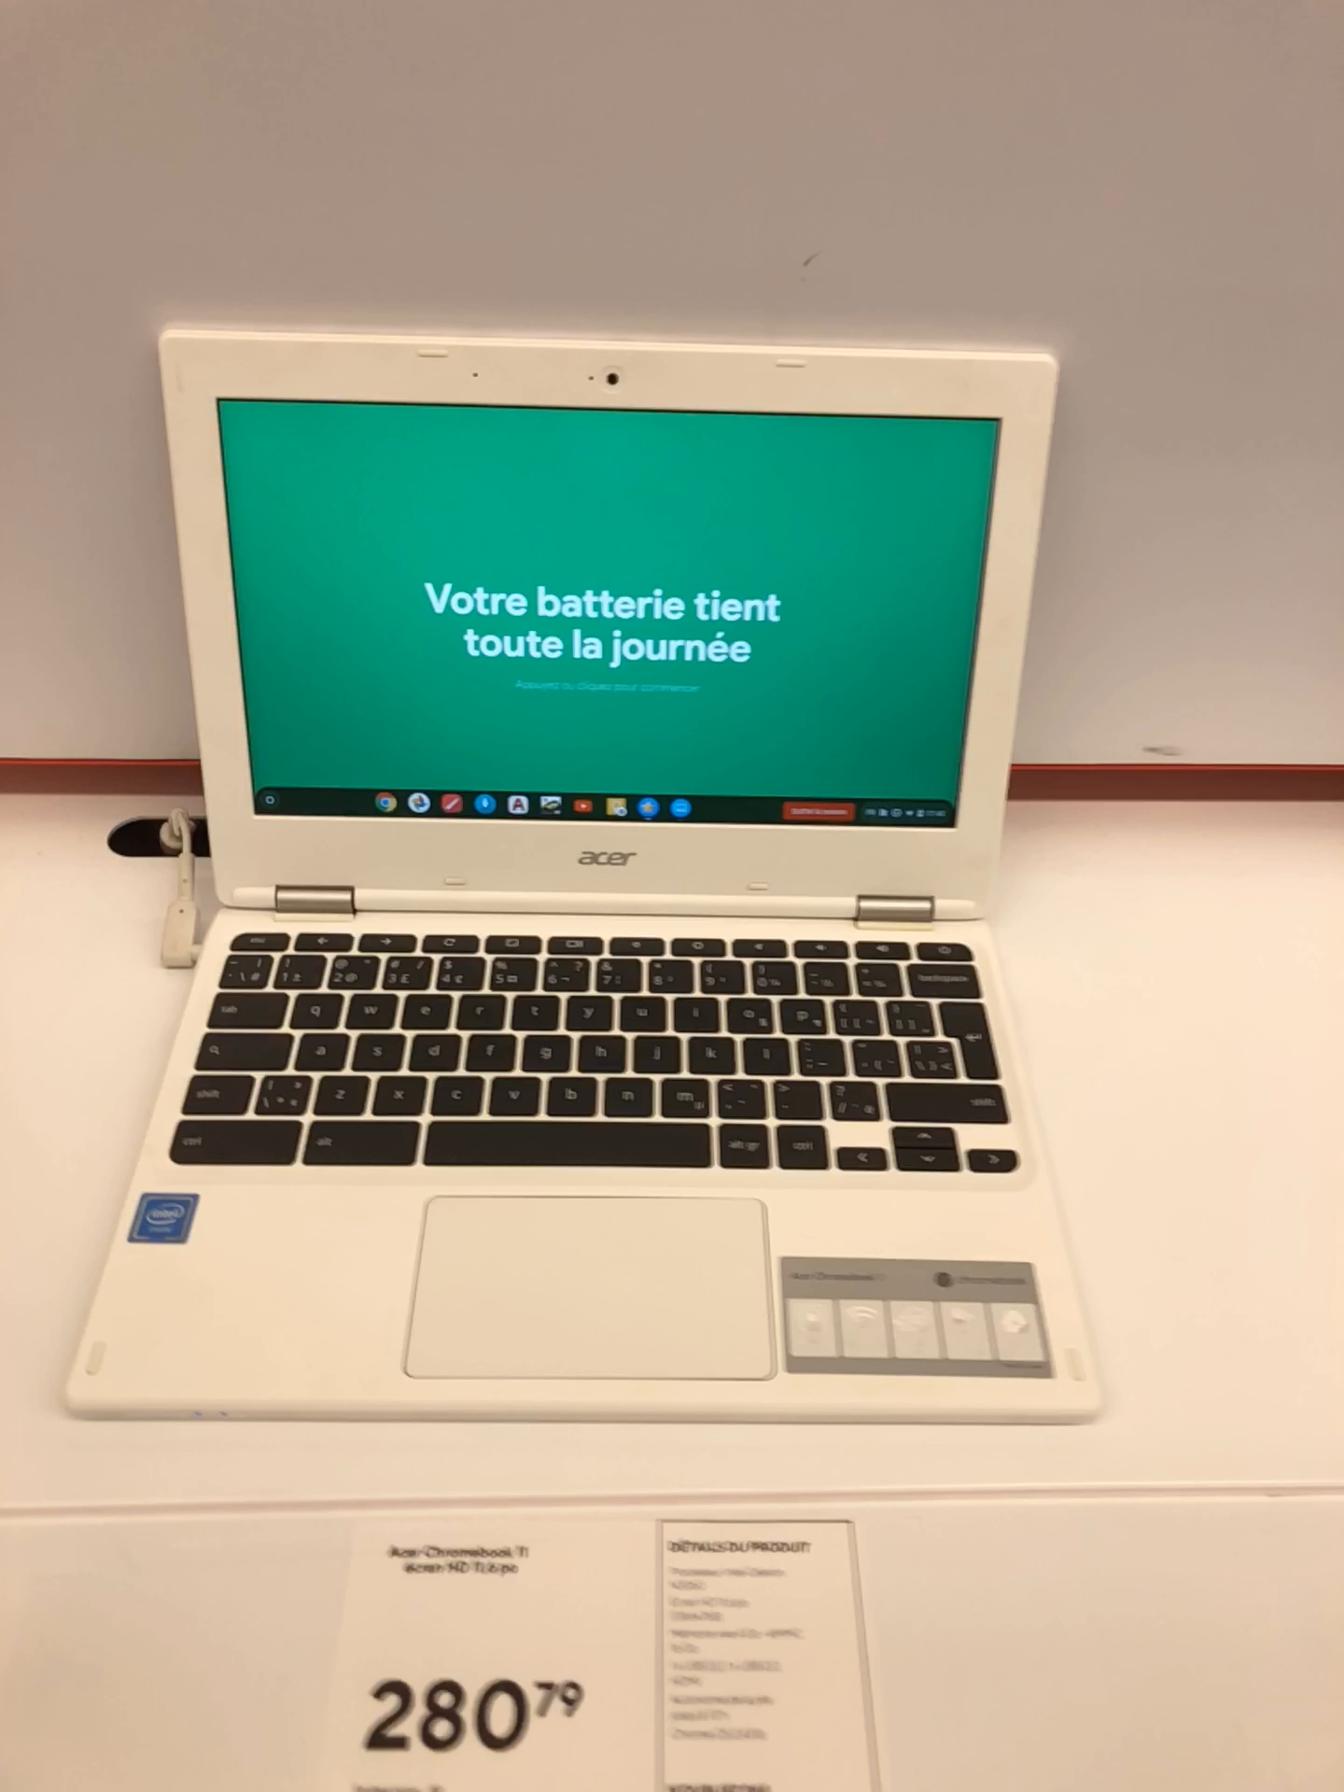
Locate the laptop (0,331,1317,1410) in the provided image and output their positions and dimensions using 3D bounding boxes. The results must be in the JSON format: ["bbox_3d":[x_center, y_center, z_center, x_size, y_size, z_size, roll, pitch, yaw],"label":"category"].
[{"bbox_3d":[-0.023,-0.017,0.435,0.282,0.188,0.260,1,43,-1],"label":"laptop"}]
